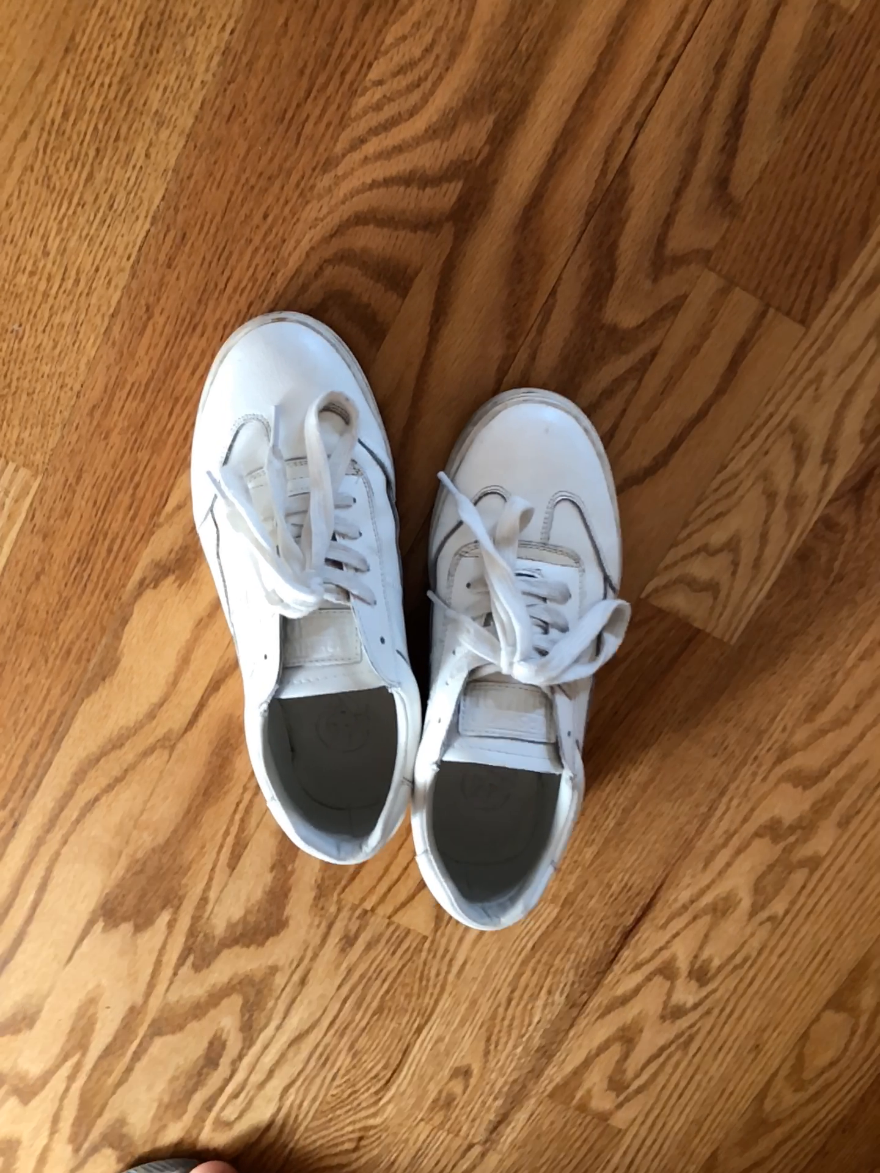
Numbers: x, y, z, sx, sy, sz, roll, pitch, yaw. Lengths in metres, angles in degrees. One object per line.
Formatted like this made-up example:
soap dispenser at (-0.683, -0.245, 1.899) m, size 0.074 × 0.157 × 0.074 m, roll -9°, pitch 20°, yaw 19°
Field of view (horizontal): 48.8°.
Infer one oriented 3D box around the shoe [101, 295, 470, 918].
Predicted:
shoe at (-0.060, 0.006, 0.457) m, size 0.102 × 0.104 × 0.260 m, roll -9°, pitch 107°, yaw 1°

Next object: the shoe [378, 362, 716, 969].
shoe at (0.038, 0.035, 0.466) m, size 0.102 × 0.107 × 0.260 m, roll 7°, pitch 106°, yaw -4°
